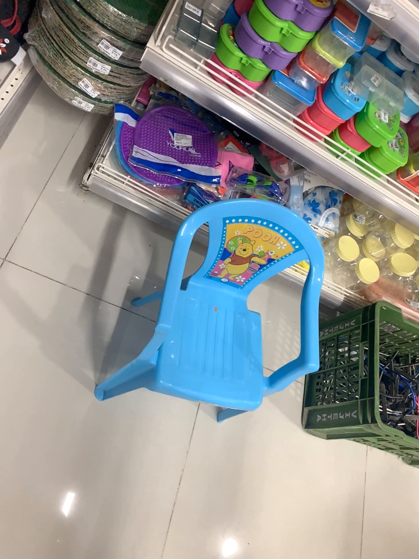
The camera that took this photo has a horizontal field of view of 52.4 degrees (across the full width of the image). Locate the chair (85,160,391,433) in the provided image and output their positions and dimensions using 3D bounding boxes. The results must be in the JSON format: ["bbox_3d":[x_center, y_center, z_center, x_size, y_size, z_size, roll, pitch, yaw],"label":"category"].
[{"bbox_3d":[0.023,0.103,0.899,0.391,0.509,0.350,17,63,-22],"label":"chair"}]
